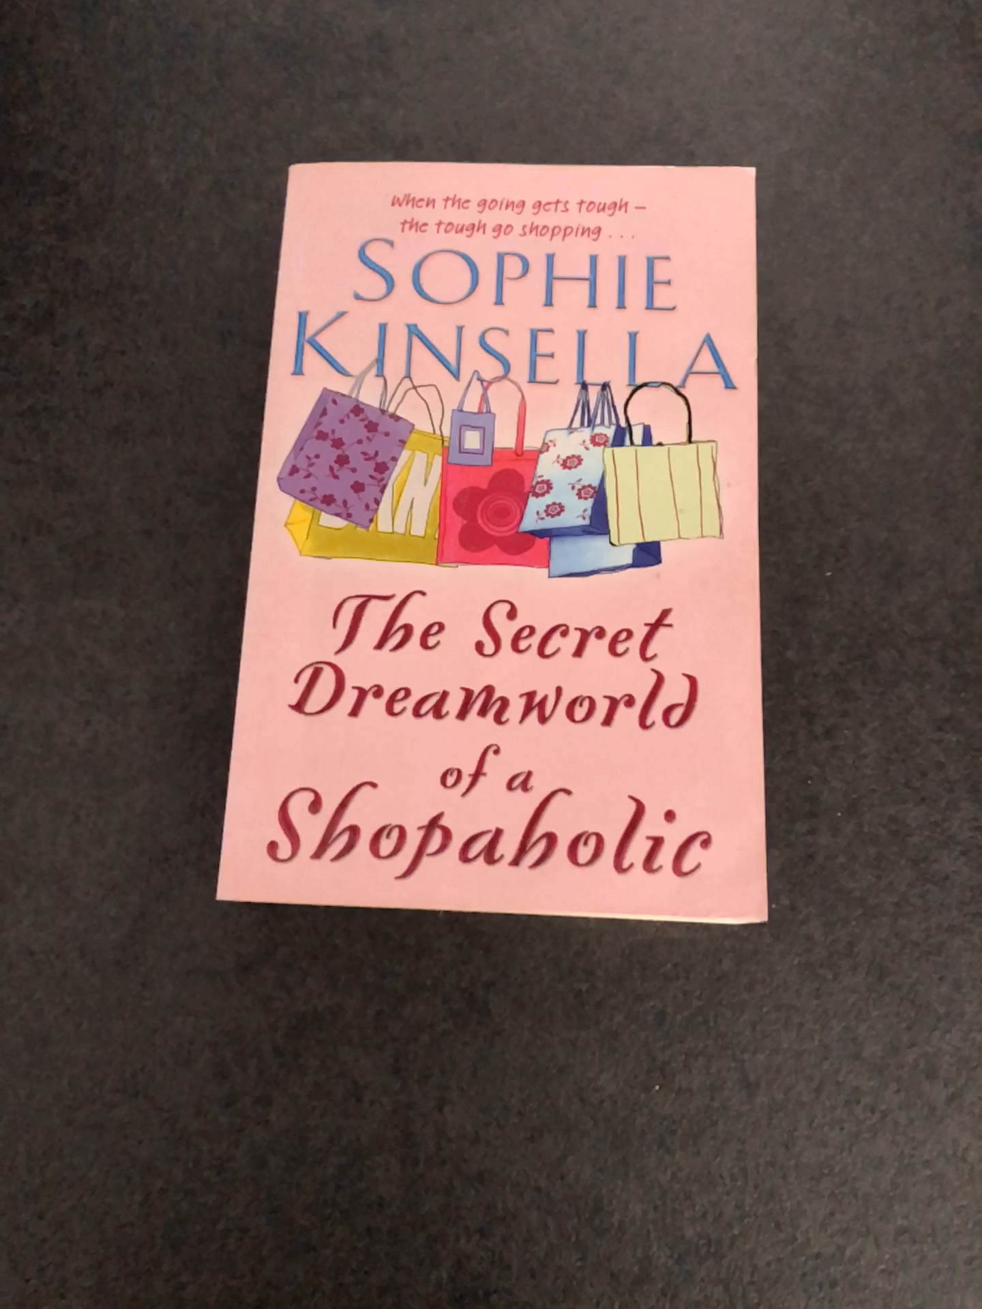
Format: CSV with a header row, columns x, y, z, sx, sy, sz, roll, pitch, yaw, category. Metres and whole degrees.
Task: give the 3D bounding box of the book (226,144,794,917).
x,y,z,sx,sy,sz,roll,pitch,yaw,category
0.008,-0.036,0.287,0.130,0.030,0.200,2,76,-1,book
